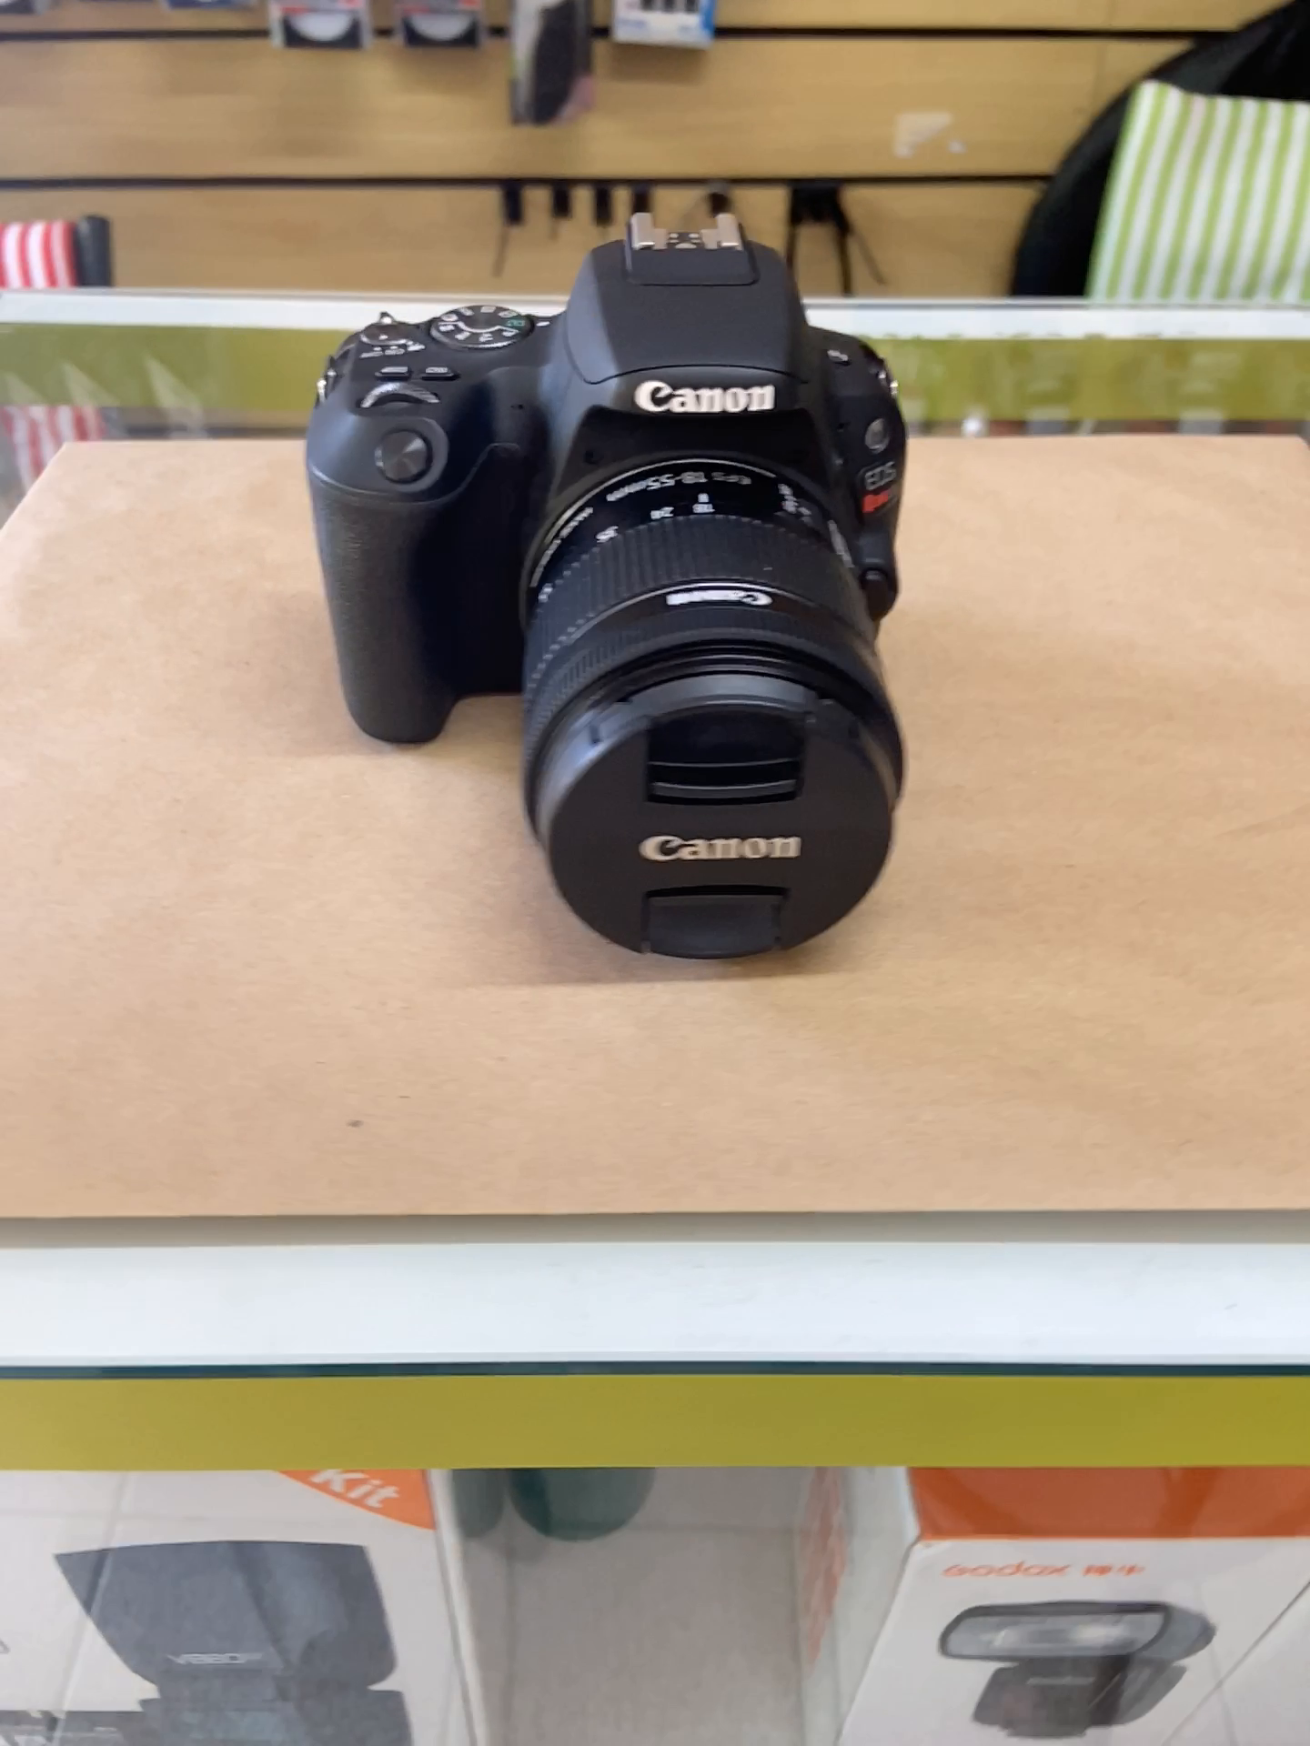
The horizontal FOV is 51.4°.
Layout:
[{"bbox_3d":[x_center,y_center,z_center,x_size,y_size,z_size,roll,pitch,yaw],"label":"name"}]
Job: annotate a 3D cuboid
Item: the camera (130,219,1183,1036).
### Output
[{"bbox_3d":[-0.004,-0.054,0.258,0.140,0.089,0.131,-4,42,-4],"label":"camera"}]
